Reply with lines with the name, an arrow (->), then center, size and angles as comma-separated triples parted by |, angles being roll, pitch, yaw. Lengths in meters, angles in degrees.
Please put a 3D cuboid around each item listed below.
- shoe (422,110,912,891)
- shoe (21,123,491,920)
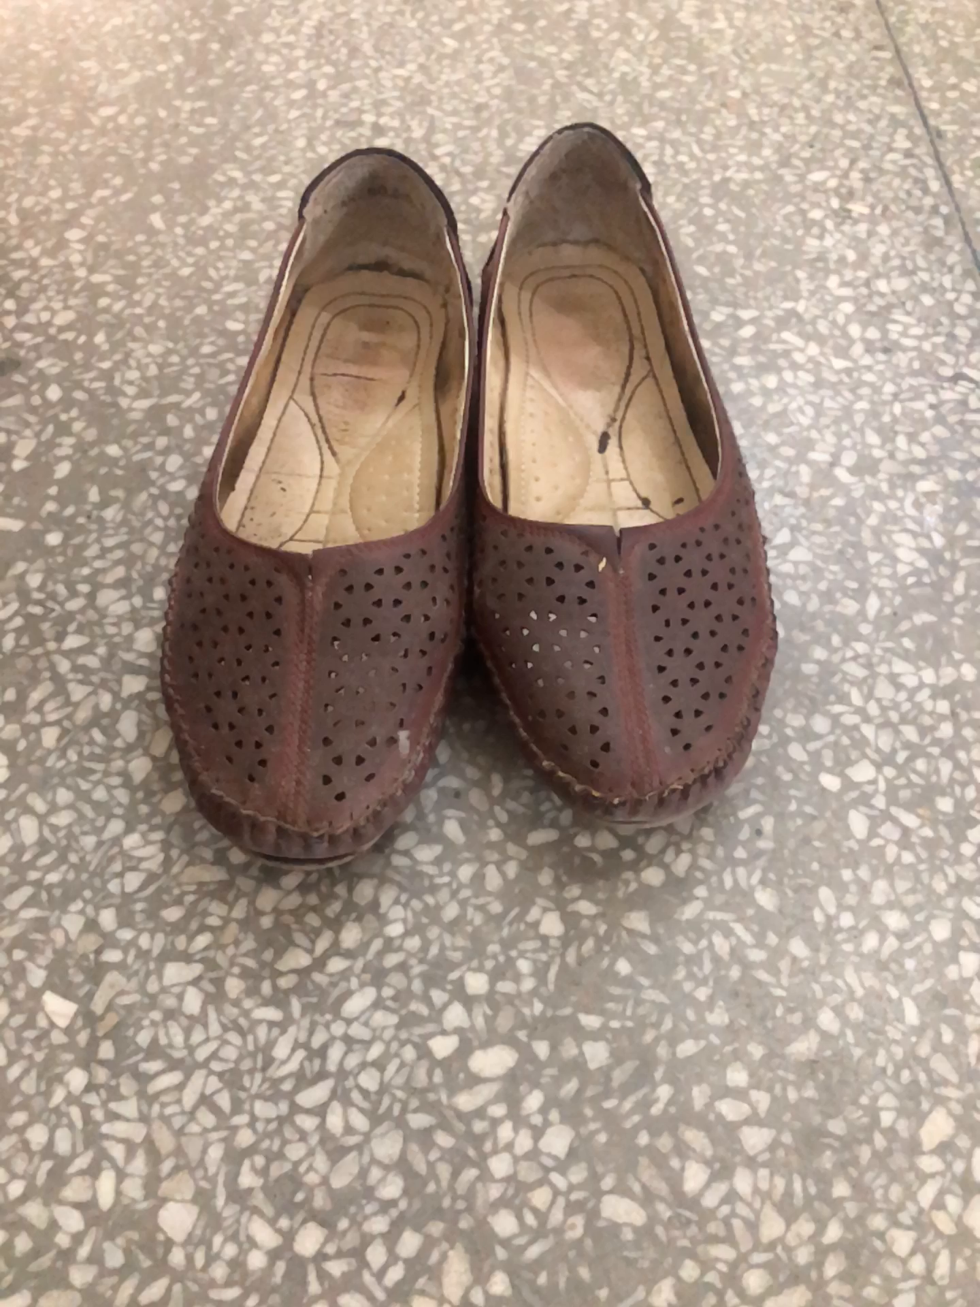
shoe -> 0.034, -0.057, 0.330 | 0.095, 0.080, 0.232 | -4, 58, -3
shoe -> -0.049, -0.051, 0.327 | 0.087, 0.080, 0.236 | 3, 57, 1
